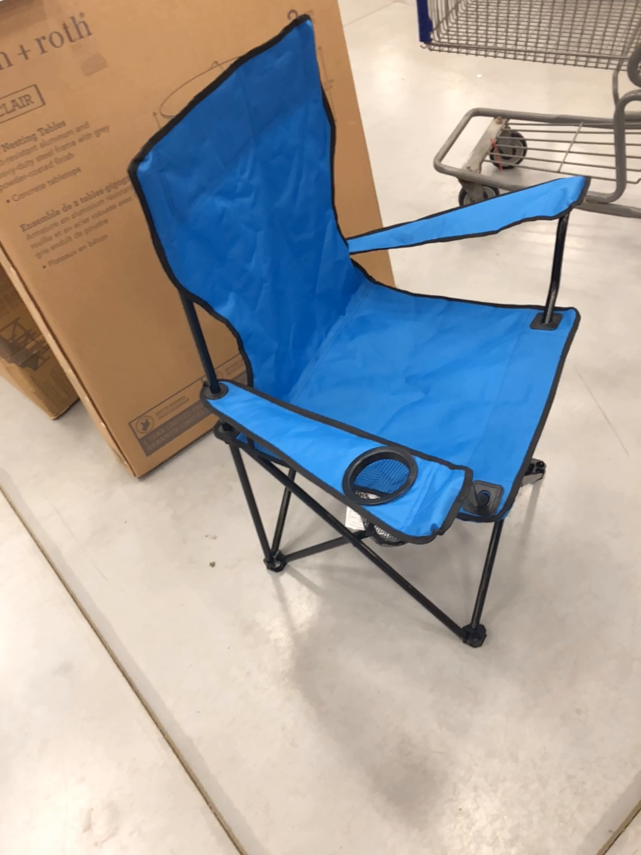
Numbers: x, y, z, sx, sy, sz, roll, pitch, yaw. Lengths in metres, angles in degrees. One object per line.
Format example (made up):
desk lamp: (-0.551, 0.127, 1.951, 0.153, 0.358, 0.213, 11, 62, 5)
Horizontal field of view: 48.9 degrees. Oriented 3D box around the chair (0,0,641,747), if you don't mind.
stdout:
chair: (0.096, -0.112, 1.190, 0.621, 0.837, 0.792, 15, 52, 22)
